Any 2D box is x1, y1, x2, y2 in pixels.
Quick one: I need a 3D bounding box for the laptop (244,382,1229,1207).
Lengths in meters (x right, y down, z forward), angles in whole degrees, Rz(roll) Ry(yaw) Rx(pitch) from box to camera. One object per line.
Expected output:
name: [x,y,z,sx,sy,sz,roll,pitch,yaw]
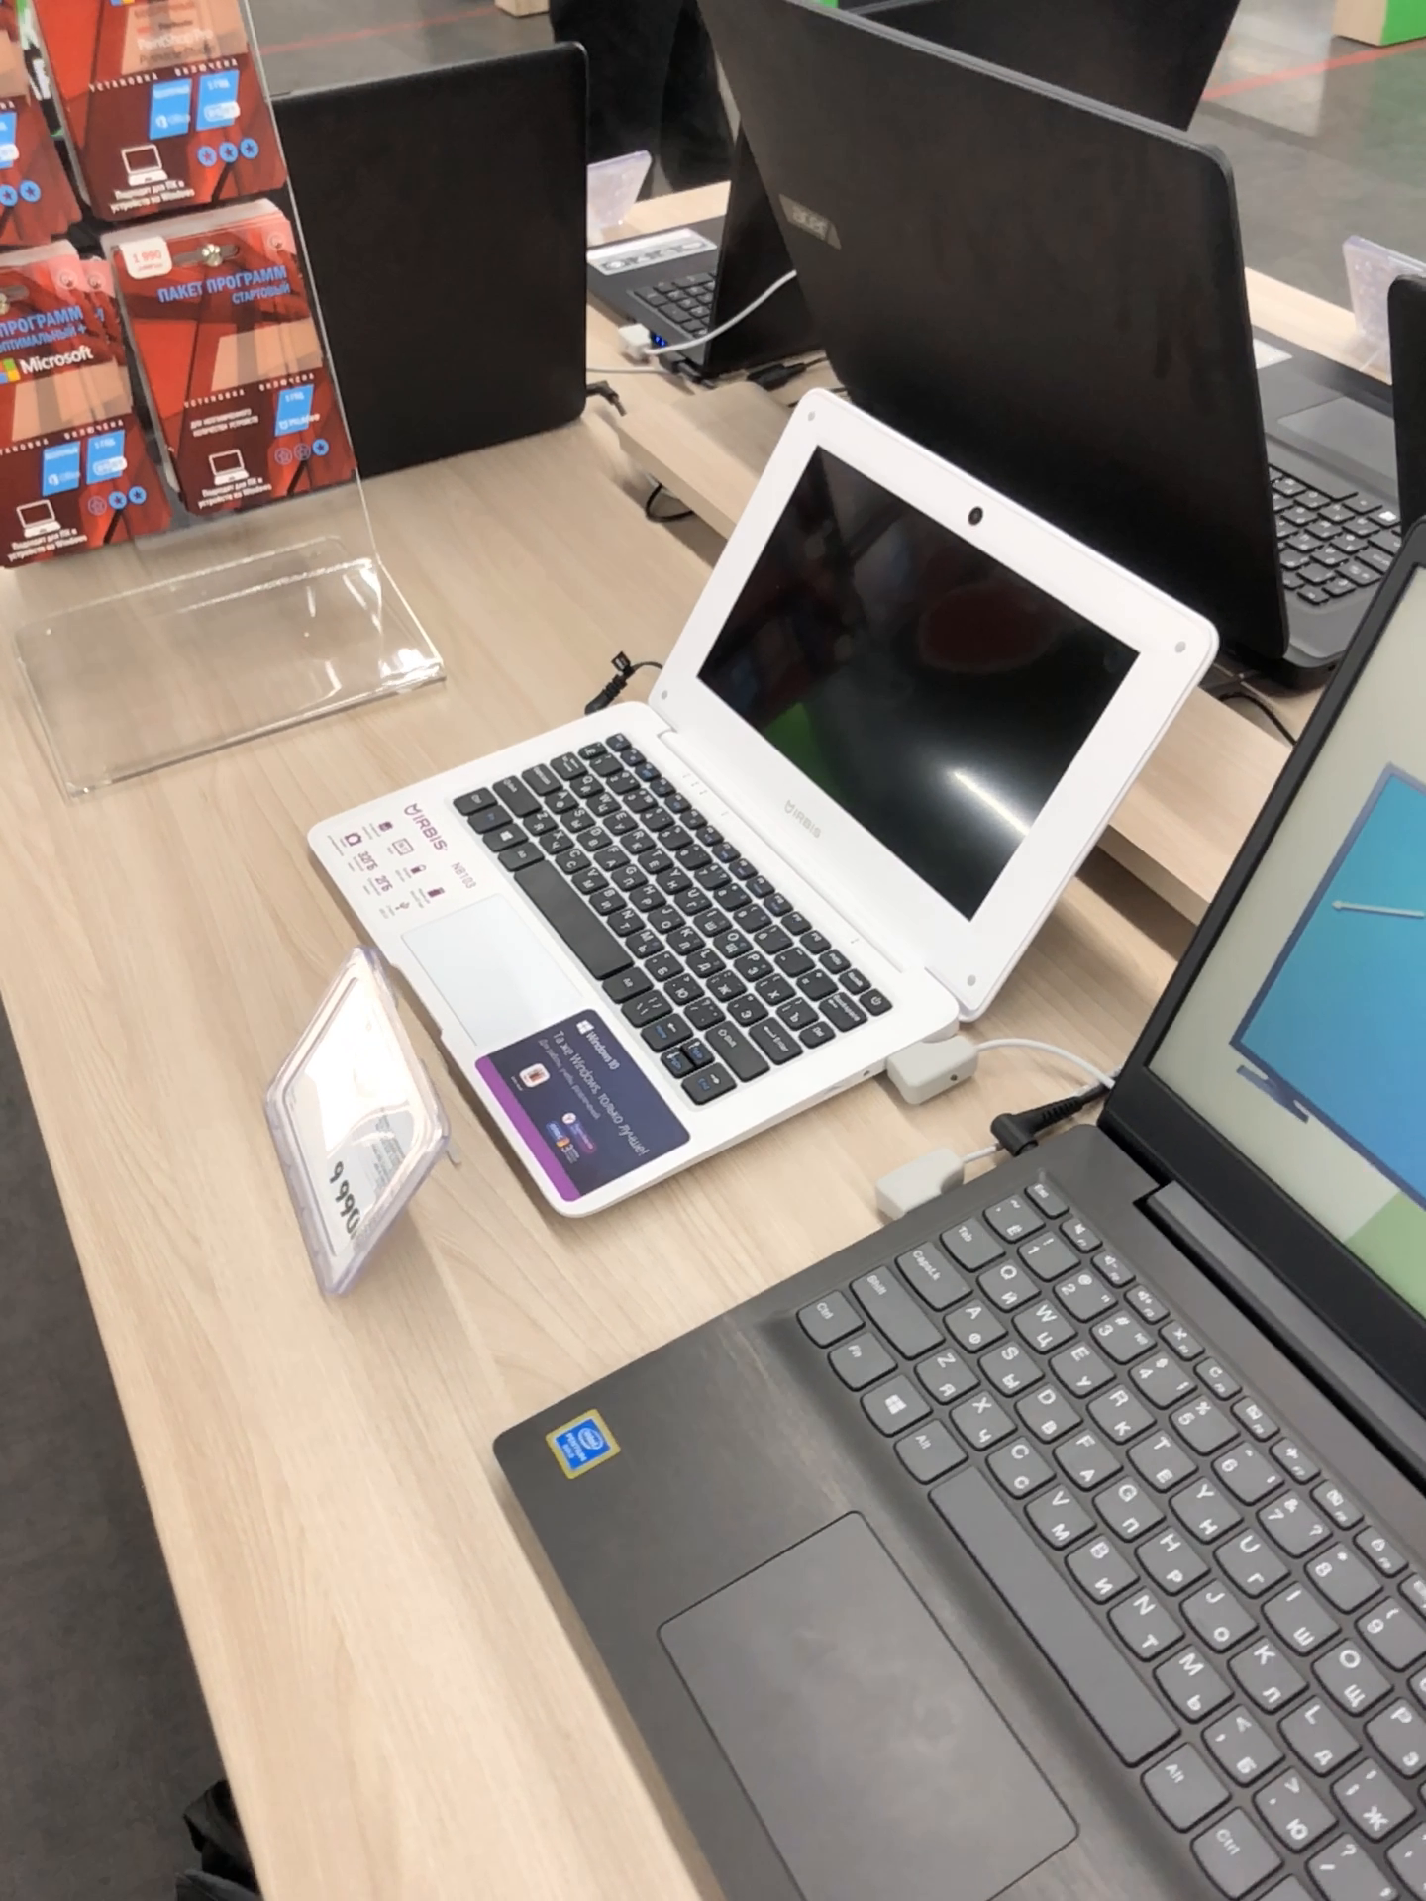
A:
laptop: [-0.002,-0.098,0.721,0.317,0.144,0.297,-25,45,-18]
